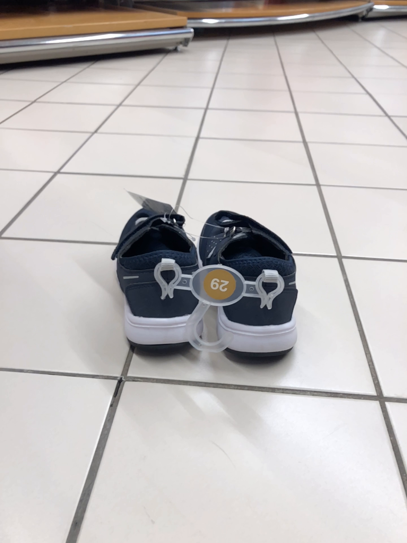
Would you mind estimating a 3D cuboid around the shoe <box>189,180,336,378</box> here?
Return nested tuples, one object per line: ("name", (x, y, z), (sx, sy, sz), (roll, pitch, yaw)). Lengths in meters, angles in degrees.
("shoe", (0.040, -0.007, 0.423), (0.083, 0.084, 0.197), (-4, 34, -7))

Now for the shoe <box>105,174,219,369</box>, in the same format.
("shoe", (-0.047, -0.014, 0.424), (0.081, 0.080, 0.199), (-5, 34, -9))
